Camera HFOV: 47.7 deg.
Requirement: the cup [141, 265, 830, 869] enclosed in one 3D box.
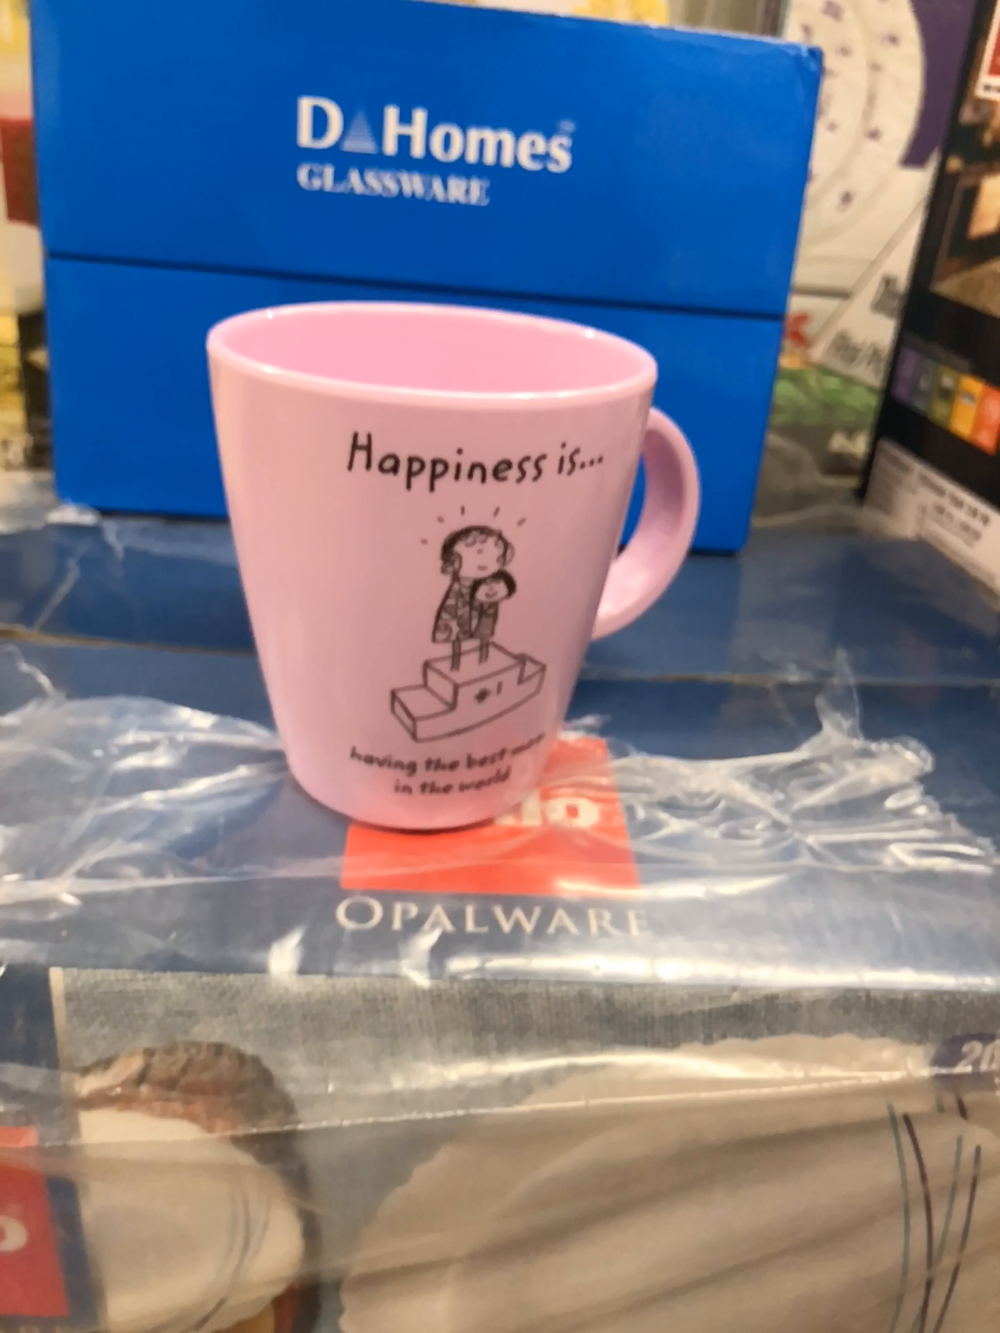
[{"bbox_3d":[-0.011,-0.030,0.243,0.110,0.089,0.090,-7,31,-22],"label":"cup"}]
